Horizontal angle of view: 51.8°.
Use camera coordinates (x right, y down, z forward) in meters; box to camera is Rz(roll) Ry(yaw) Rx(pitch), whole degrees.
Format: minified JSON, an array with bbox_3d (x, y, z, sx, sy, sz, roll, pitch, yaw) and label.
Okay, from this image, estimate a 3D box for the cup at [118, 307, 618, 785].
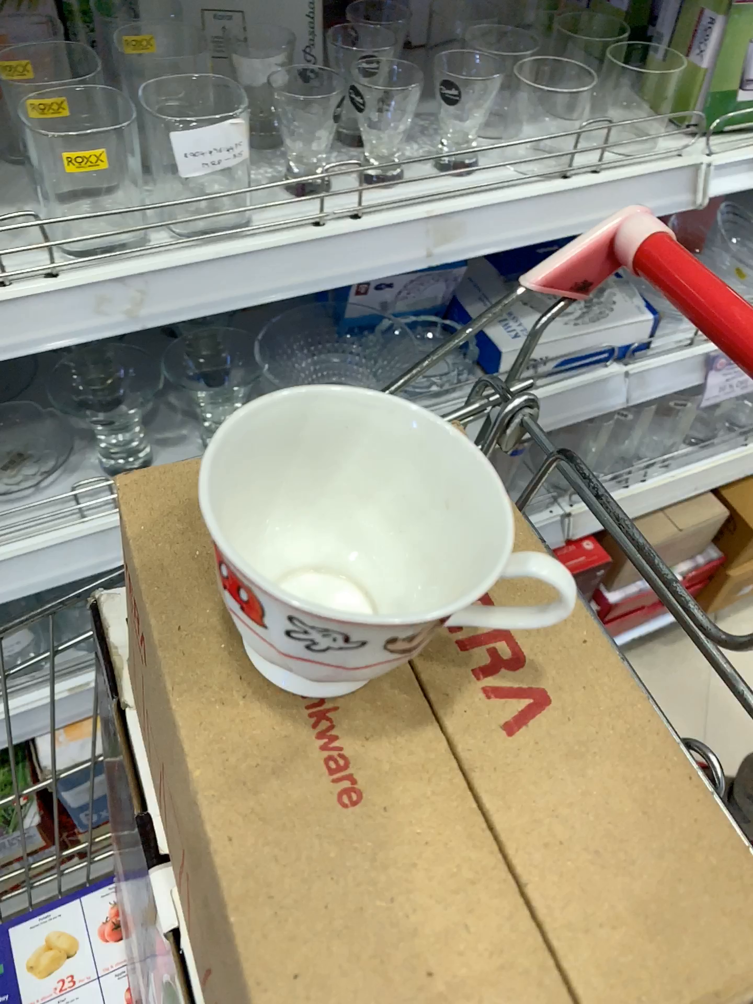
[{"bbox_3d":[0.001,0.010,0.206,0.100,0.060,0.080,19,50,4],"label":"cup"}]
